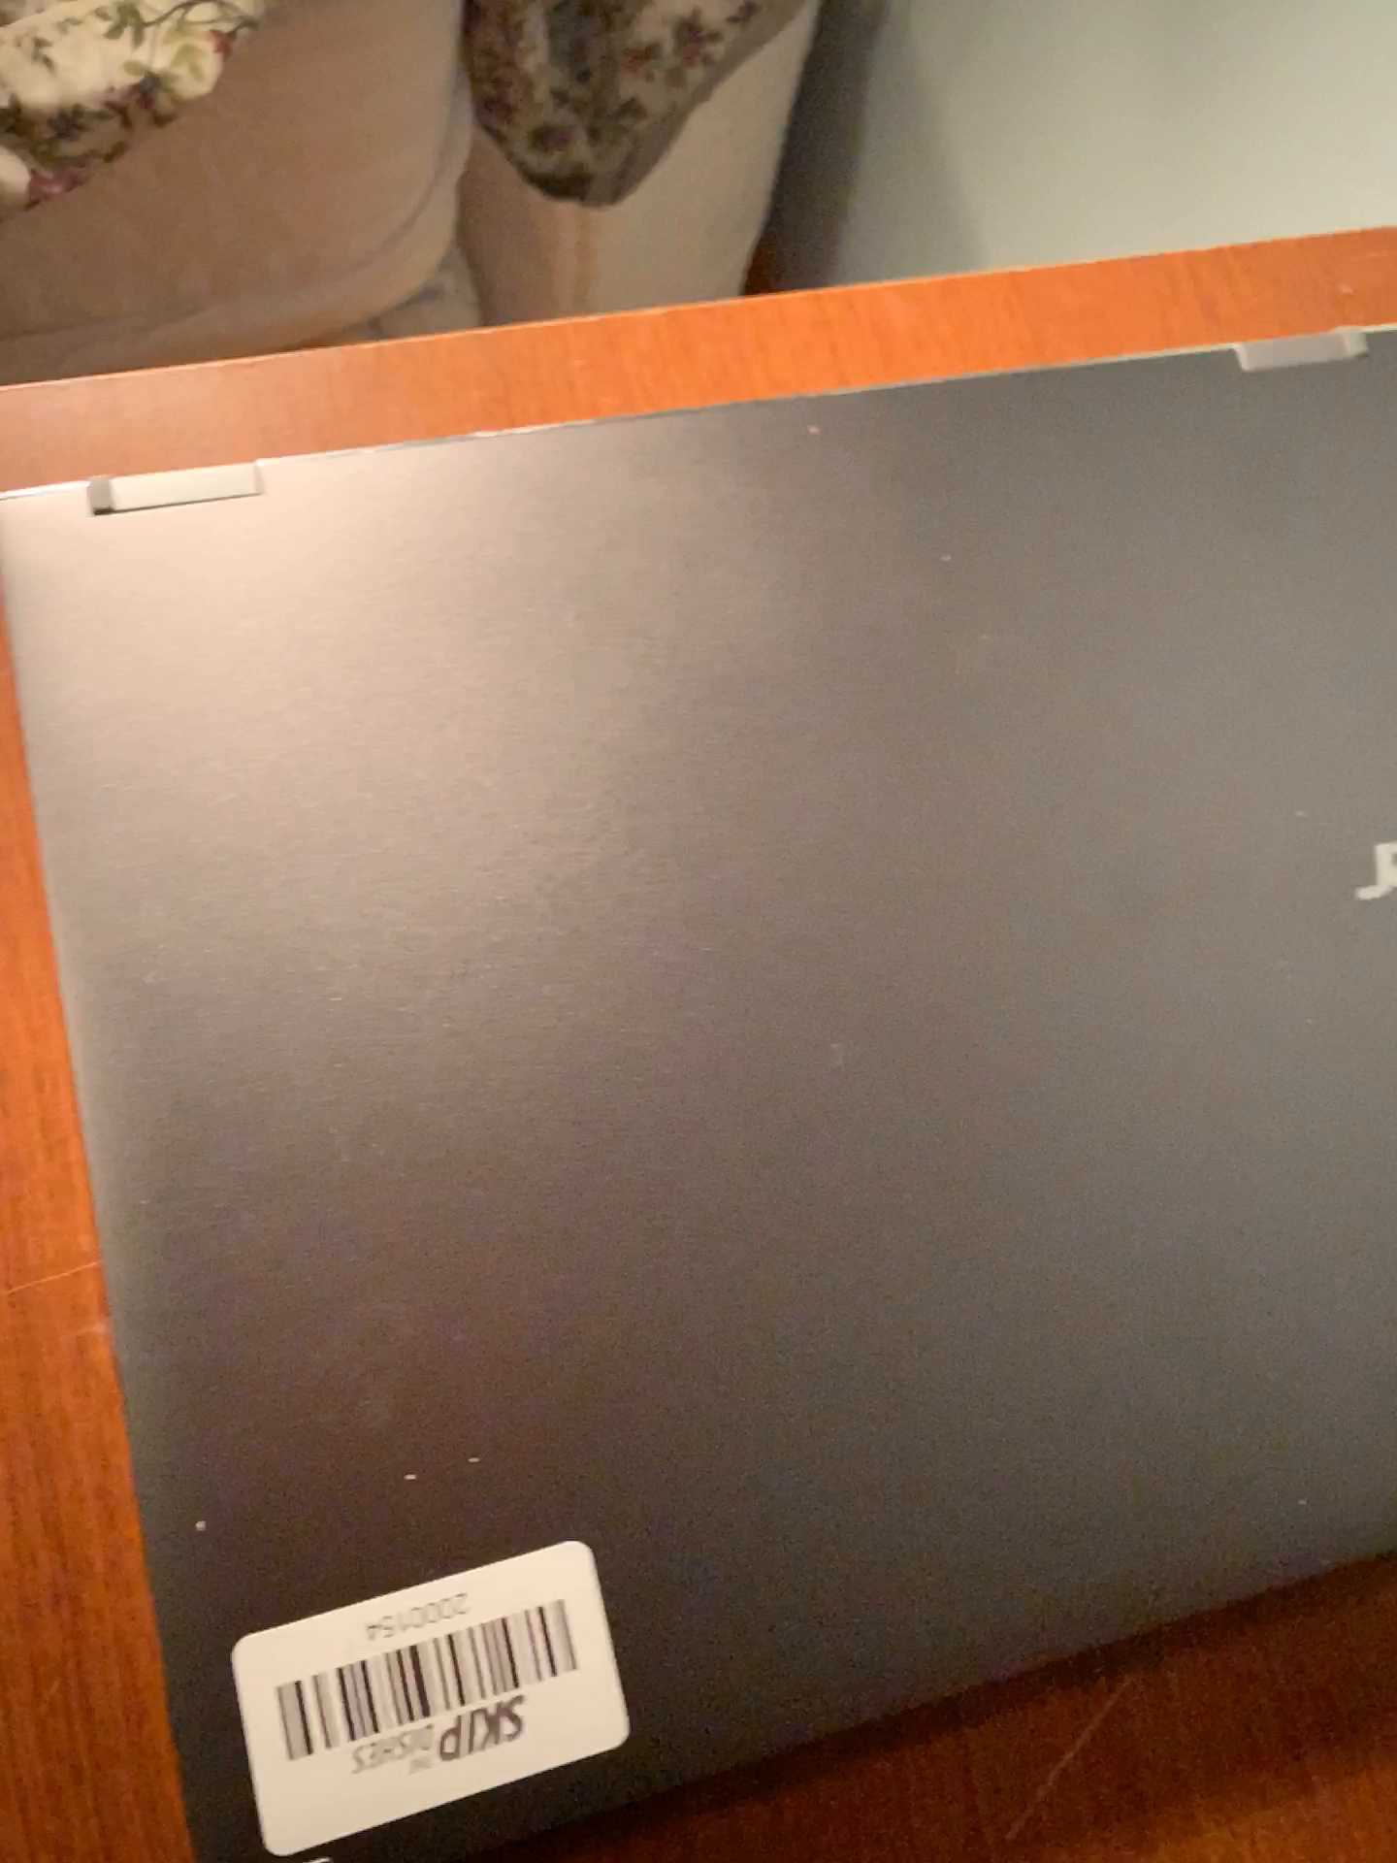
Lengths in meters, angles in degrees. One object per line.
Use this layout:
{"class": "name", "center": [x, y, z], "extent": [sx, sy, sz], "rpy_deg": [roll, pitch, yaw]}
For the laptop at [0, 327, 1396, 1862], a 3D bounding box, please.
{"class": "laptop", "center": [0.046, 0.004, 0.266], "extent": [0.299, 0.002, 0.232], "rpy_deg": [-11, 78, -13]}
